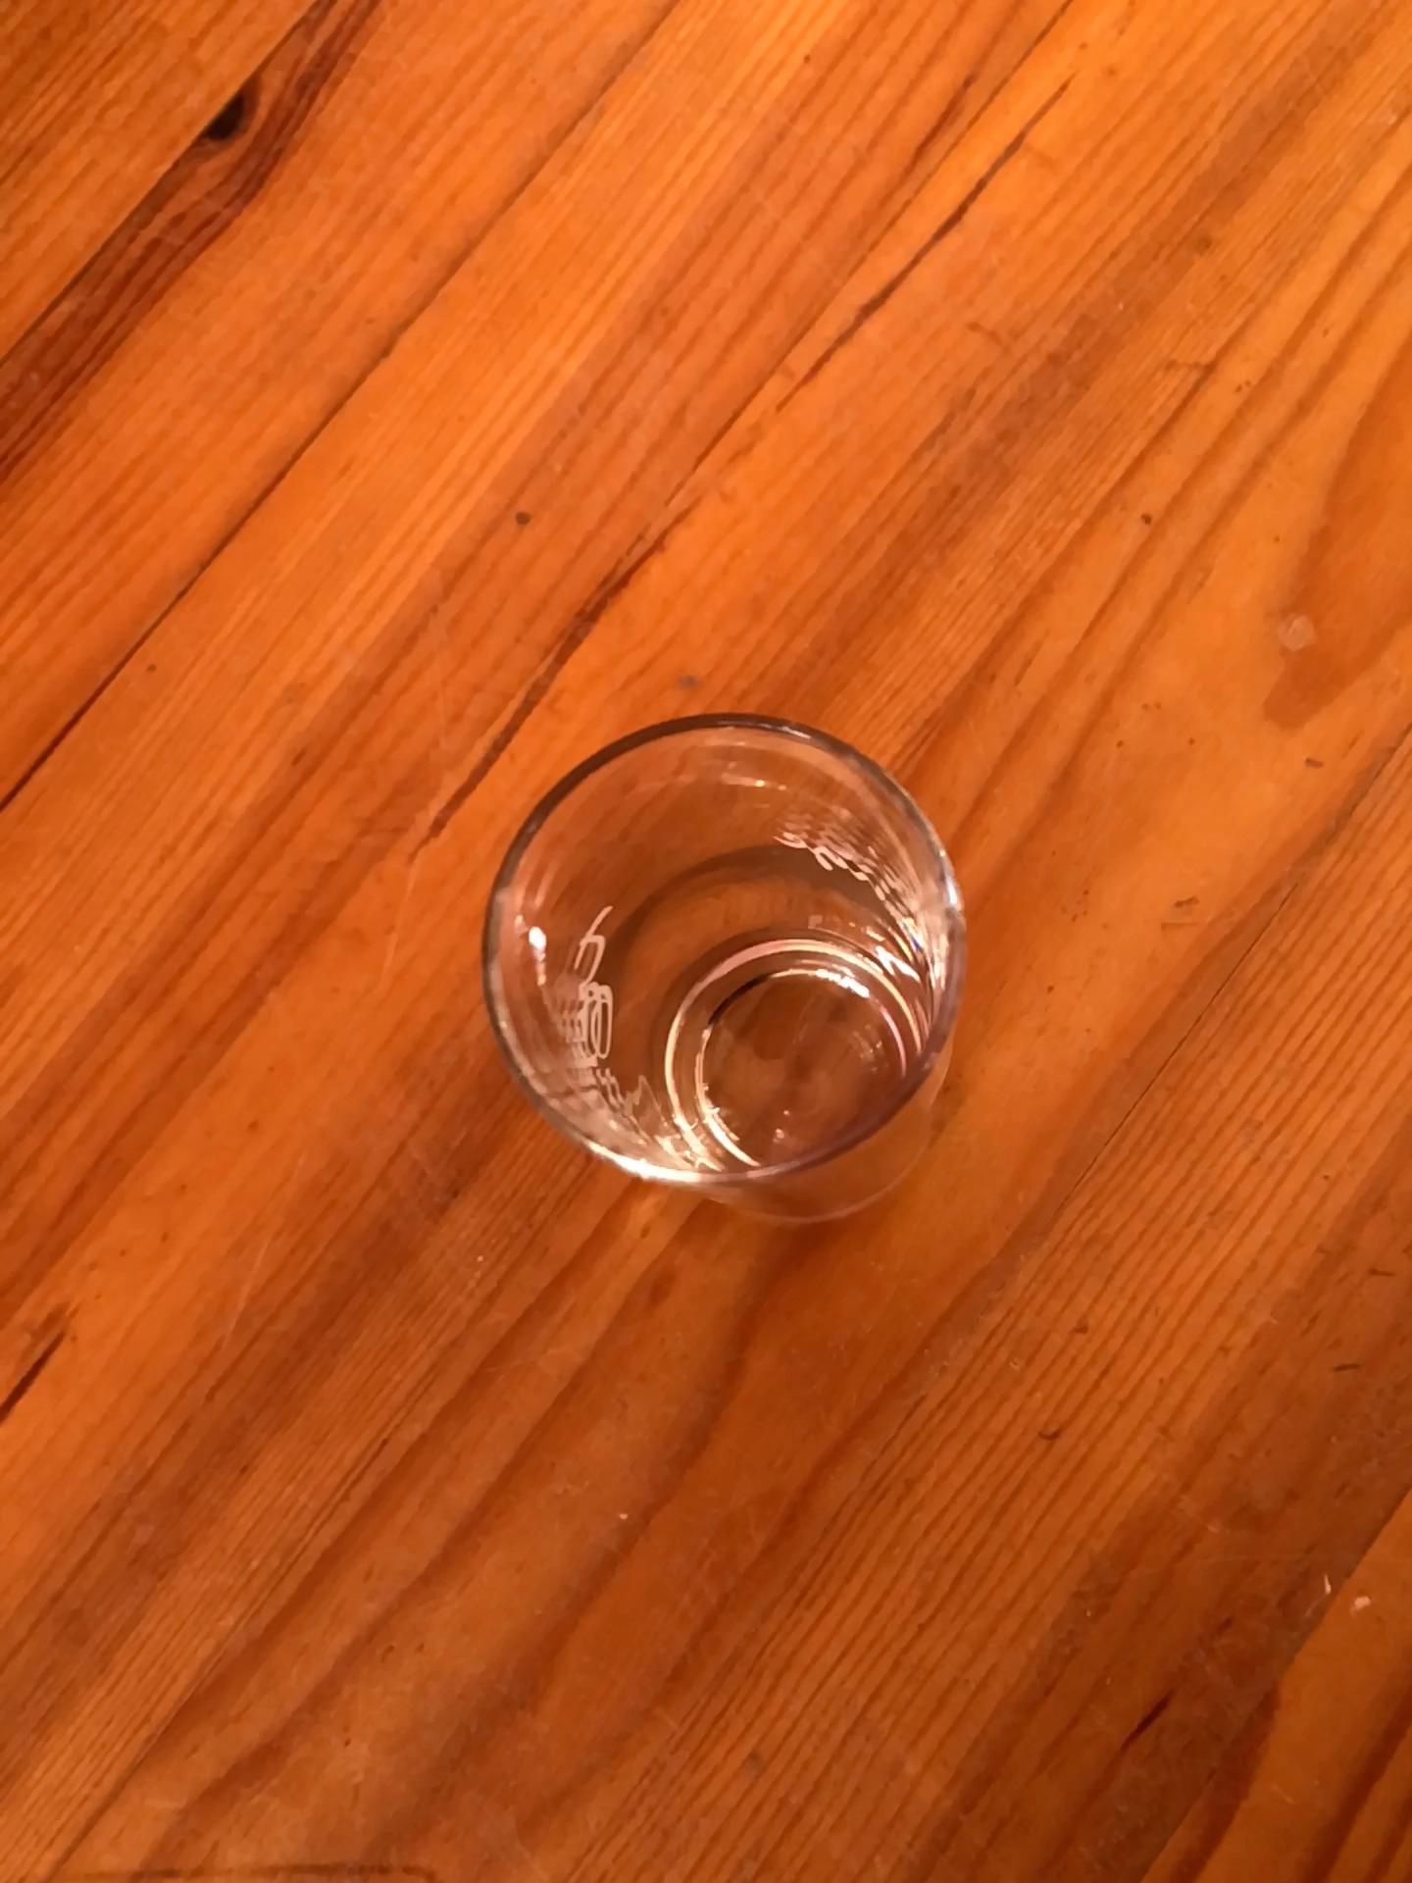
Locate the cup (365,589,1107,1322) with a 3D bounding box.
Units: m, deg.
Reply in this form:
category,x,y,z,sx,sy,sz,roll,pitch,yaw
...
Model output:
category,x,y,z,sx,sy,sz,roll,pitch,yaw
cup,0.010,0.013,0.223,0.056,0.124,0.056,-2,77,8
